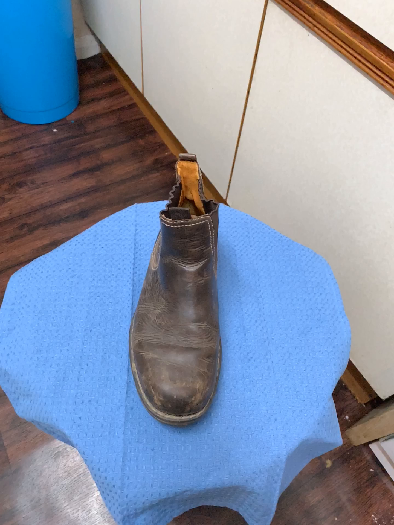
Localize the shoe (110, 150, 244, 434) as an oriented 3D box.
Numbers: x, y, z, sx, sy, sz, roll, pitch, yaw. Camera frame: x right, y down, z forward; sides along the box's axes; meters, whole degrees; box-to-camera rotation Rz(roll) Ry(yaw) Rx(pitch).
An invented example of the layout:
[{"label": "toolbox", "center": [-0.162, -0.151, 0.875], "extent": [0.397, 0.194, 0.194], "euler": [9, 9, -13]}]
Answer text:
[{"label": "shoe", "center": [-0.014, 0.030, 0.469], "extent": [0.105, 0.156, 0.280], "euler": [6, 57, -2]}]
